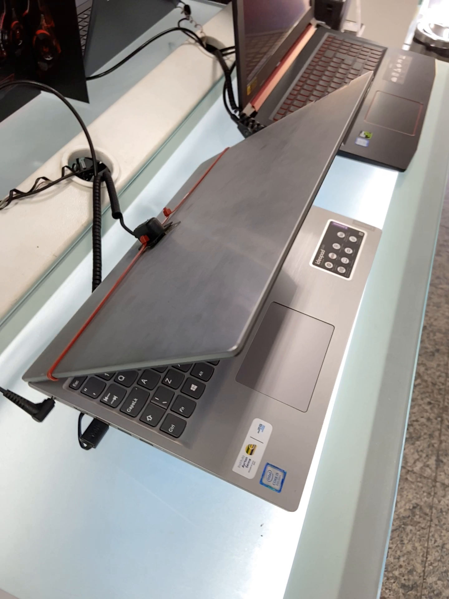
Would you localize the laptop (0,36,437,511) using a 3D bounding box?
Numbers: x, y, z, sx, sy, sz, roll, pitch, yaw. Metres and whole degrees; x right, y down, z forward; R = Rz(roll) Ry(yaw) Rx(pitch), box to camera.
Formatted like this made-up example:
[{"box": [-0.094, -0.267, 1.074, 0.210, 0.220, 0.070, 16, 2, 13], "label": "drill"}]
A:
[{"box": [0.020, -0.060, 0.425, 0.246, 0.167, 0.363, 22, 51, 10], "label": "laptop"}]
